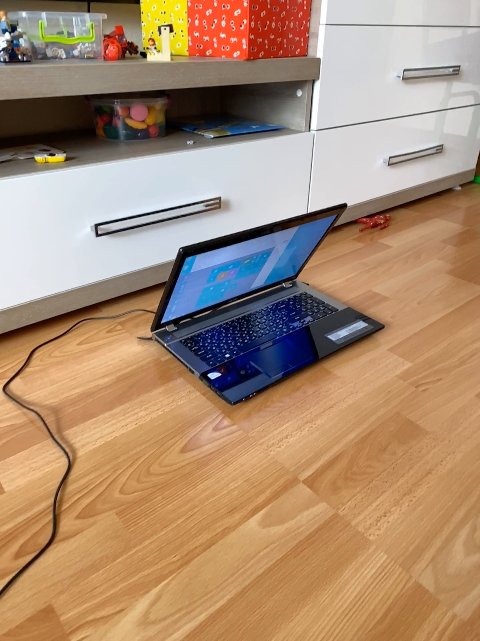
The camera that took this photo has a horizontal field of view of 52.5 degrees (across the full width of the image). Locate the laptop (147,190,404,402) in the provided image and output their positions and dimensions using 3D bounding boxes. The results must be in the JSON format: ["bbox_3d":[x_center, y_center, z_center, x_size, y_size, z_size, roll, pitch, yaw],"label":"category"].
[{"bbox_3d":[0.069,-0.080,0.971,0.412,0.233,0.269,-21,36,-33],"label":"laptop"}]
